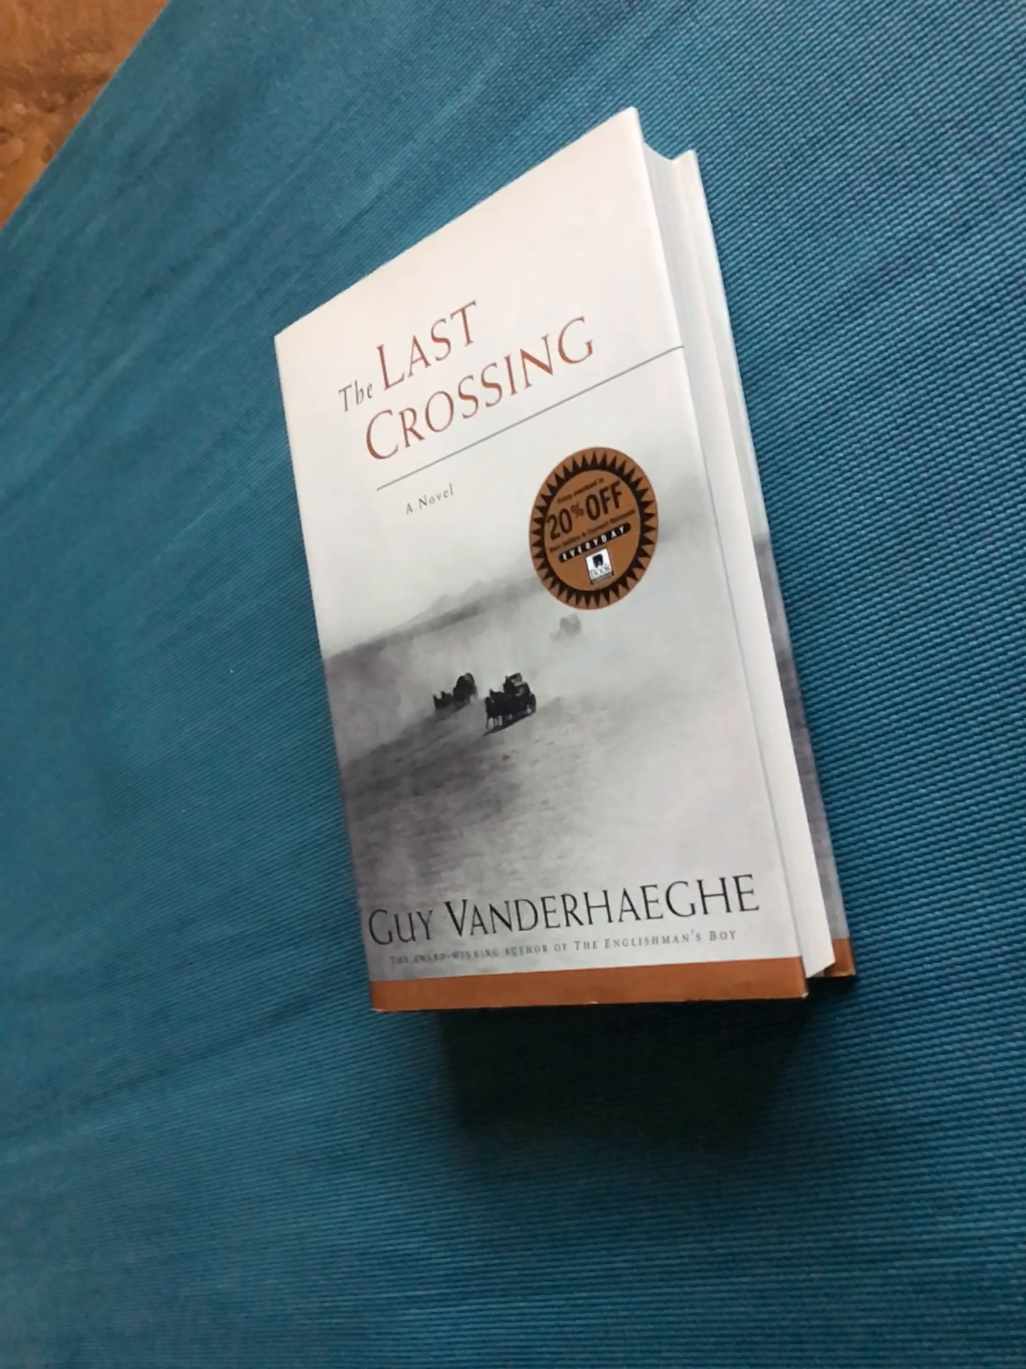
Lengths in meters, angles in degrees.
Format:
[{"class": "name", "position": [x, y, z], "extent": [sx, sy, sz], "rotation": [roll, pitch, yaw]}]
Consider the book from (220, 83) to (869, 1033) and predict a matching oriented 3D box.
[{"class": "book", "position": [-0.006, -0.020, 0.335], "extent": [0.171, 0.040, 0.230], "rotation": [-15, 79, 38]}]
